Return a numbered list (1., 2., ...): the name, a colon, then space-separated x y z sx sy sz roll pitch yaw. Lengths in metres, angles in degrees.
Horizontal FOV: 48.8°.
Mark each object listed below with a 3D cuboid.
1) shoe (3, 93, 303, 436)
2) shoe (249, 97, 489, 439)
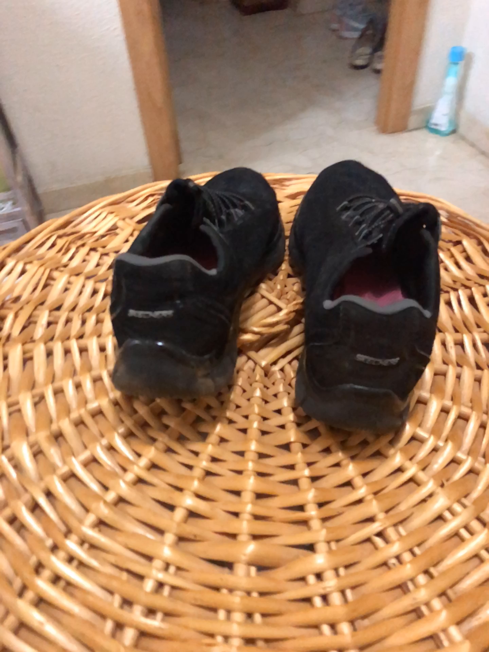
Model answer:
1. shoe: -0.036 -0.066 0.381 0.117 0.079 0.265 7 47 10
2. shoe: 0.073 -0.061 0.373 0.117 0.079 0.265 1 47 5
